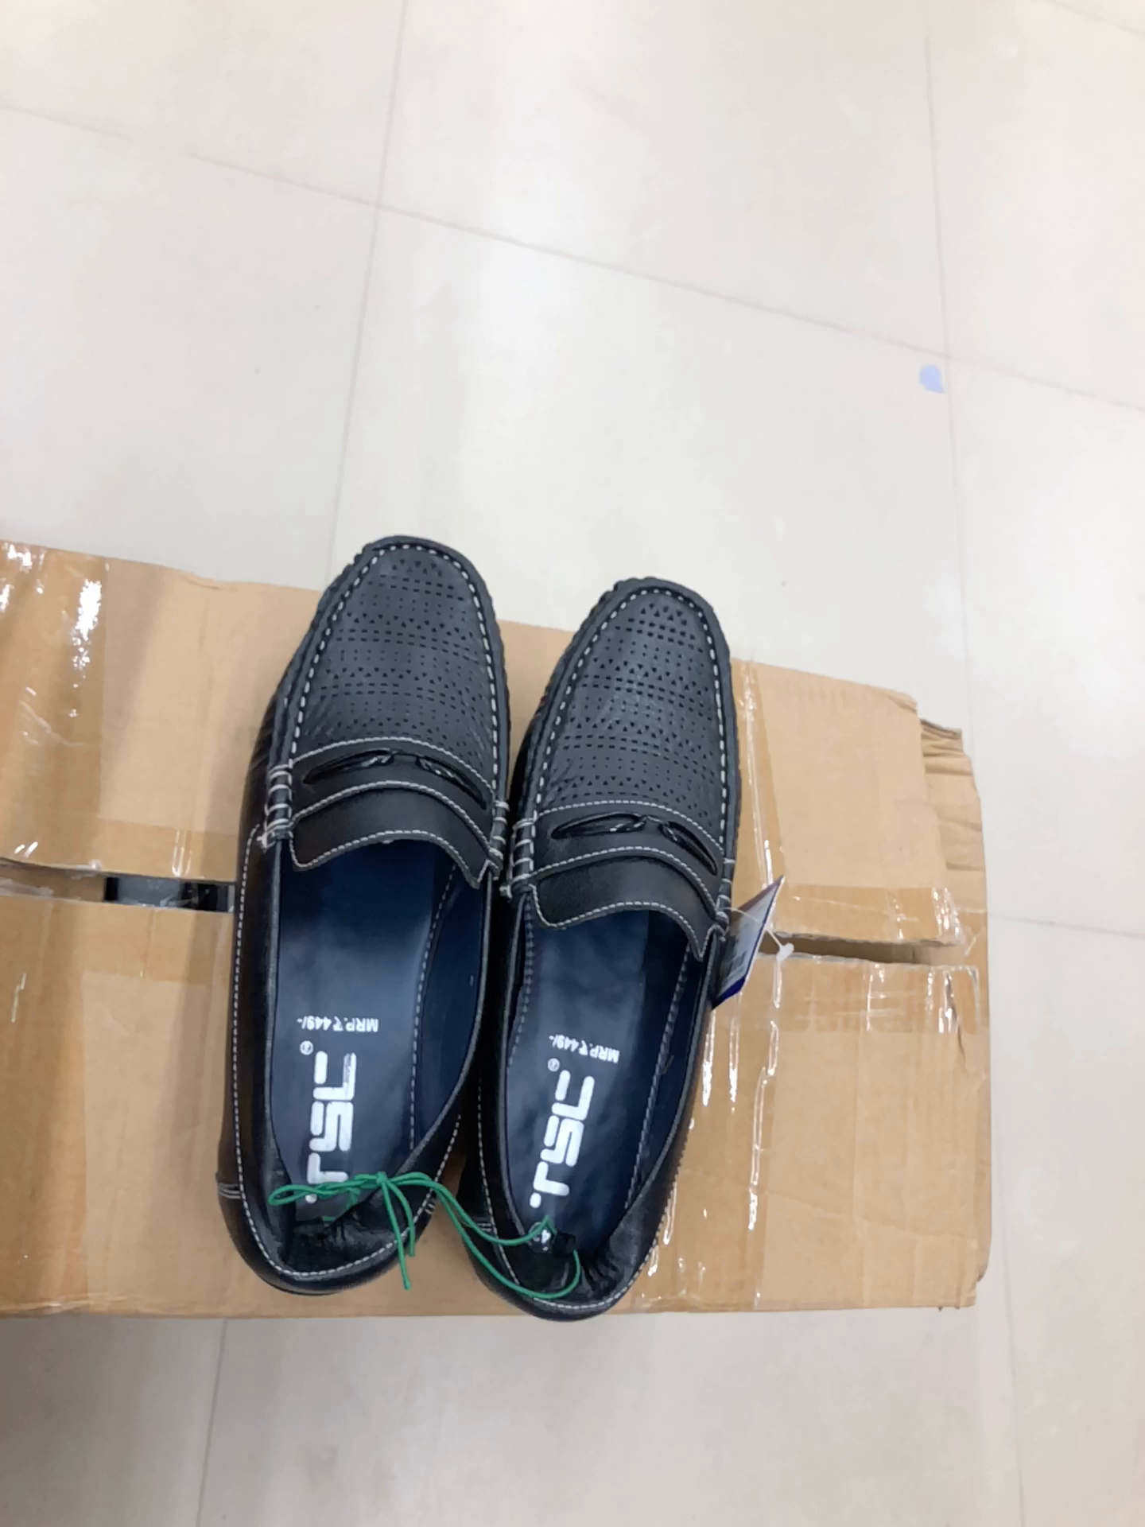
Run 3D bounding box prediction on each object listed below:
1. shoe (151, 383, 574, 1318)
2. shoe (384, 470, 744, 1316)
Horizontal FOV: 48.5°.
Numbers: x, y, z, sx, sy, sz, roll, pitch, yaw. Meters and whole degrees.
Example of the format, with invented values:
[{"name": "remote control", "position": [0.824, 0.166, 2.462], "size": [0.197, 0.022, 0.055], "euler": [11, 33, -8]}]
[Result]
[{"name": "shoe", "position": [-0.072, 0.028, 0.465], "size": [0.100, 0.090, 0.311], "euler": [10, 69, -15]}, {"name": "shoe", "position": [0.001, 0.048, 0.514], "size": [0.100, 0.090, 0.311], "euler": [10, 69, -15]}]
